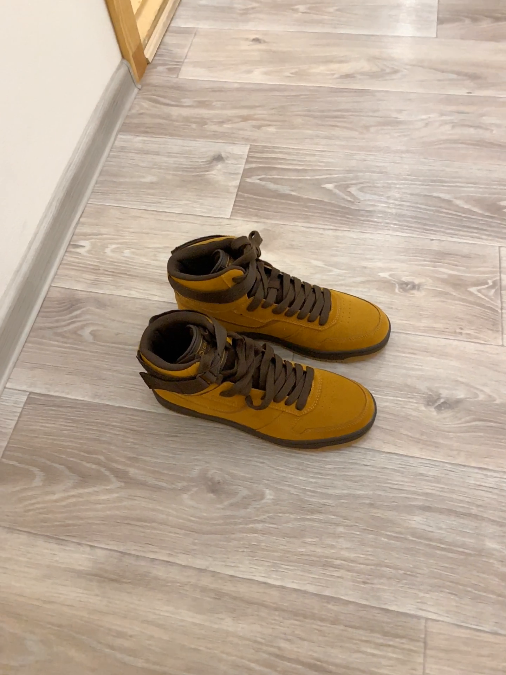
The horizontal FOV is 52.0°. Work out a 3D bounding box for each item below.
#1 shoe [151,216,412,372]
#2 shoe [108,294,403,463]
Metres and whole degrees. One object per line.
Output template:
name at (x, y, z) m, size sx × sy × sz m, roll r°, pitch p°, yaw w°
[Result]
shoe at (0.038, -0.051, 0.641) m, size 0.280 × 0.140 × 0.101 m, roll 7°, pitch 61°, yaw 9°
shoe at (0.008, 0.048, 0.577) m, size 0.280 × 0.140 × 0.101 m, roll 7°, pitch 61°, yaw 9°
